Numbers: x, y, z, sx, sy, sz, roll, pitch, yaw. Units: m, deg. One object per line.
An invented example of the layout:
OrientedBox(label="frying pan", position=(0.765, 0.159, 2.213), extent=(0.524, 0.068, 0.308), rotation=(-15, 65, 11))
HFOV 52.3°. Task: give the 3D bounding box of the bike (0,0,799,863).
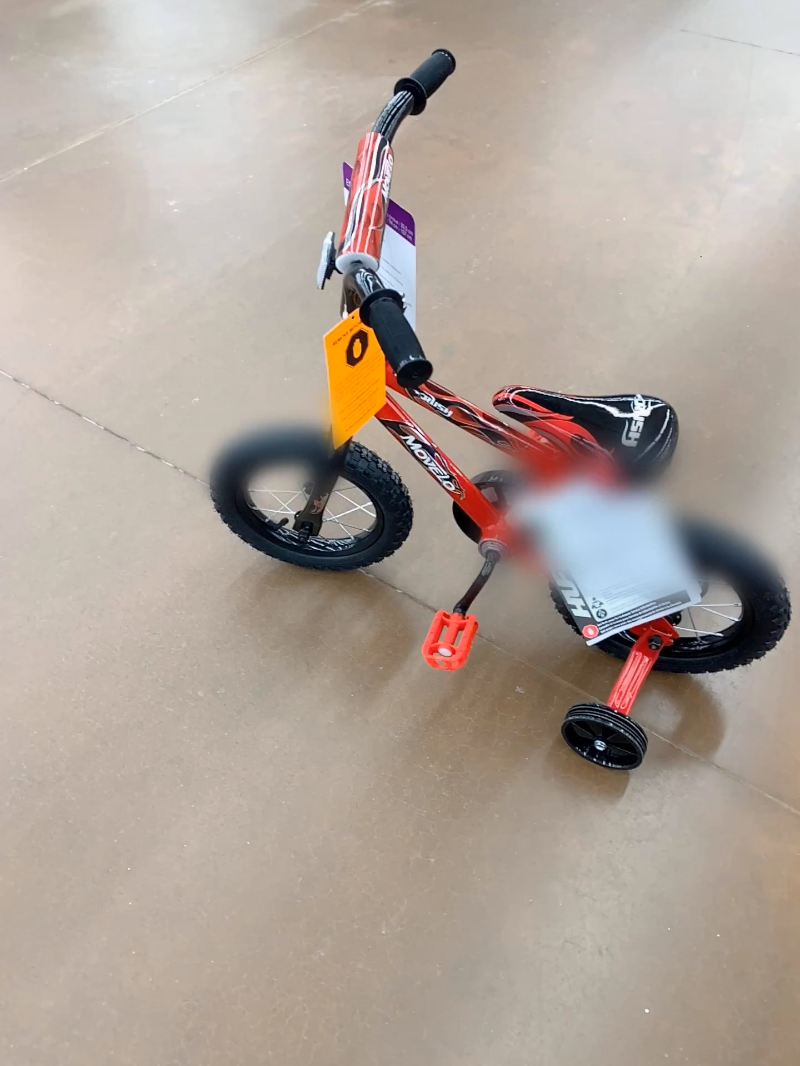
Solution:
OrientedBox(label="bike", position=(0.094, -0.106, 0.844), extent=(0.736, 0.604, 0.441), rotation=(16, 50, 11))
